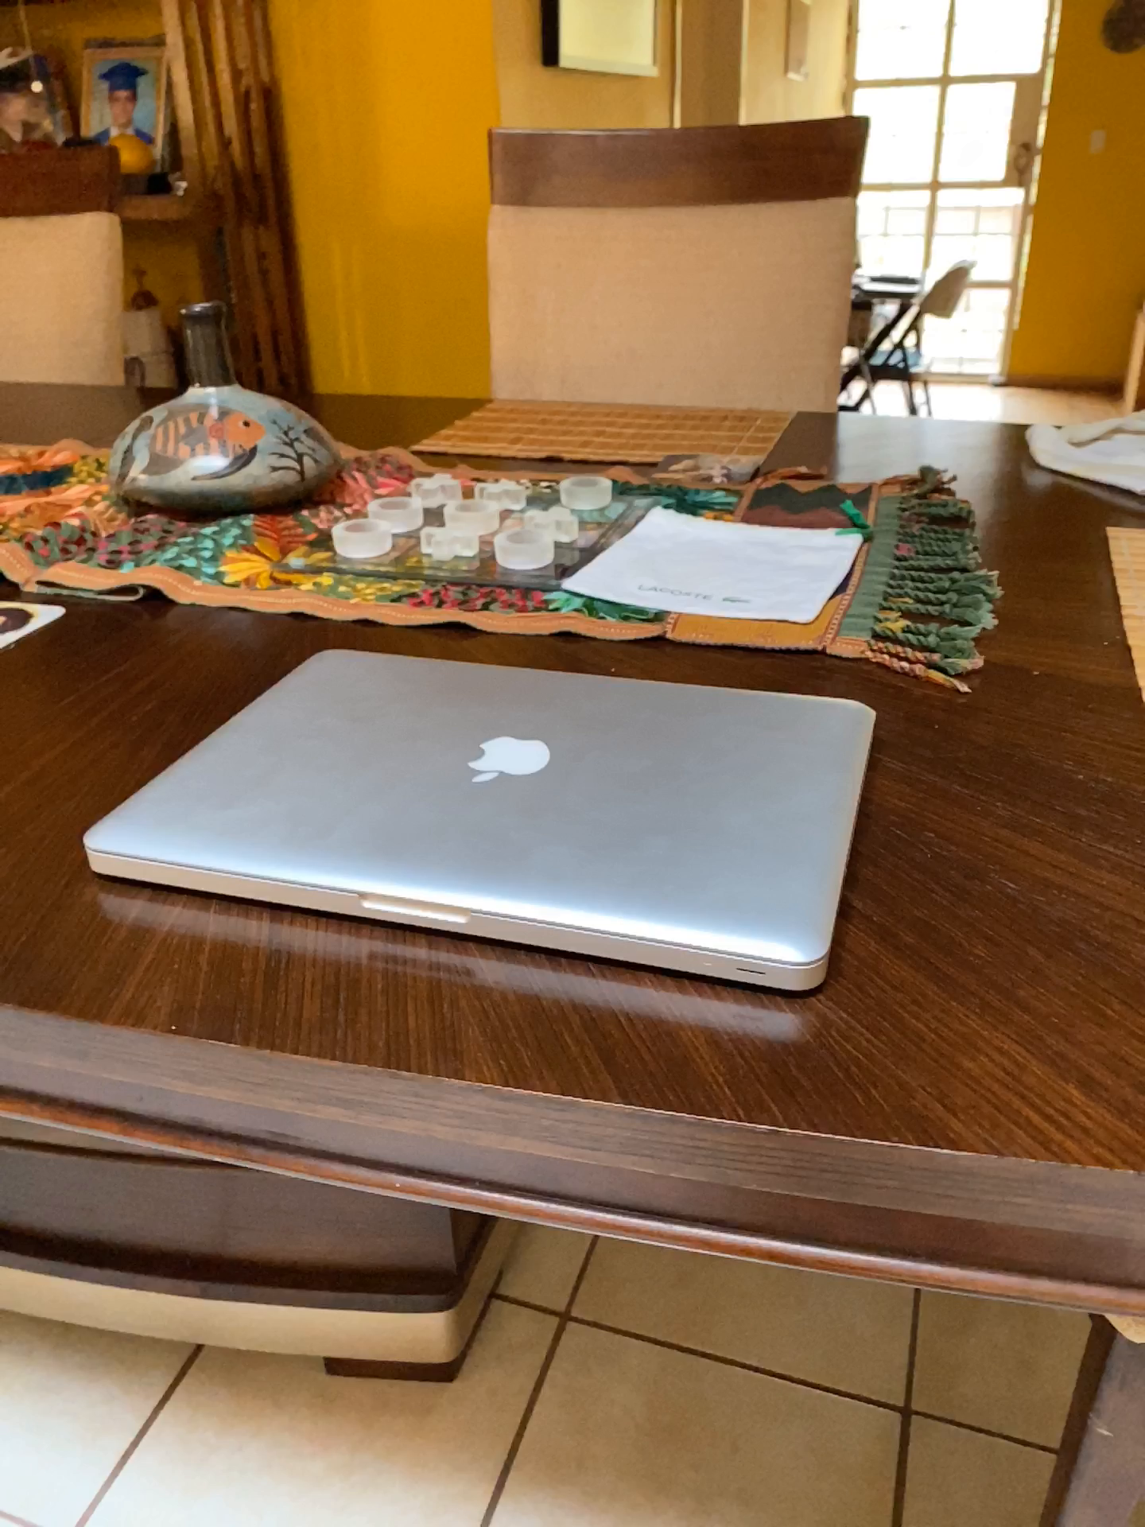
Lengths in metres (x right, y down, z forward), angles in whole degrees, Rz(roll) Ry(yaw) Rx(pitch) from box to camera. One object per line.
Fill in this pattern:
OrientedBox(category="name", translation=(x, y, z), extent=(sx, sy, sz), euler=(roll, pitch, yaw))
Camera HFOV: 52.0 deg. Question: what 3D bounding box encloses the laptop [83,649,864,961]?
OrientedBox(category="laptop", translation=(-0.031, 0.002, 0.581), extent=(0.324, 0.002, 0.233), euler=(7, 29, 16))
